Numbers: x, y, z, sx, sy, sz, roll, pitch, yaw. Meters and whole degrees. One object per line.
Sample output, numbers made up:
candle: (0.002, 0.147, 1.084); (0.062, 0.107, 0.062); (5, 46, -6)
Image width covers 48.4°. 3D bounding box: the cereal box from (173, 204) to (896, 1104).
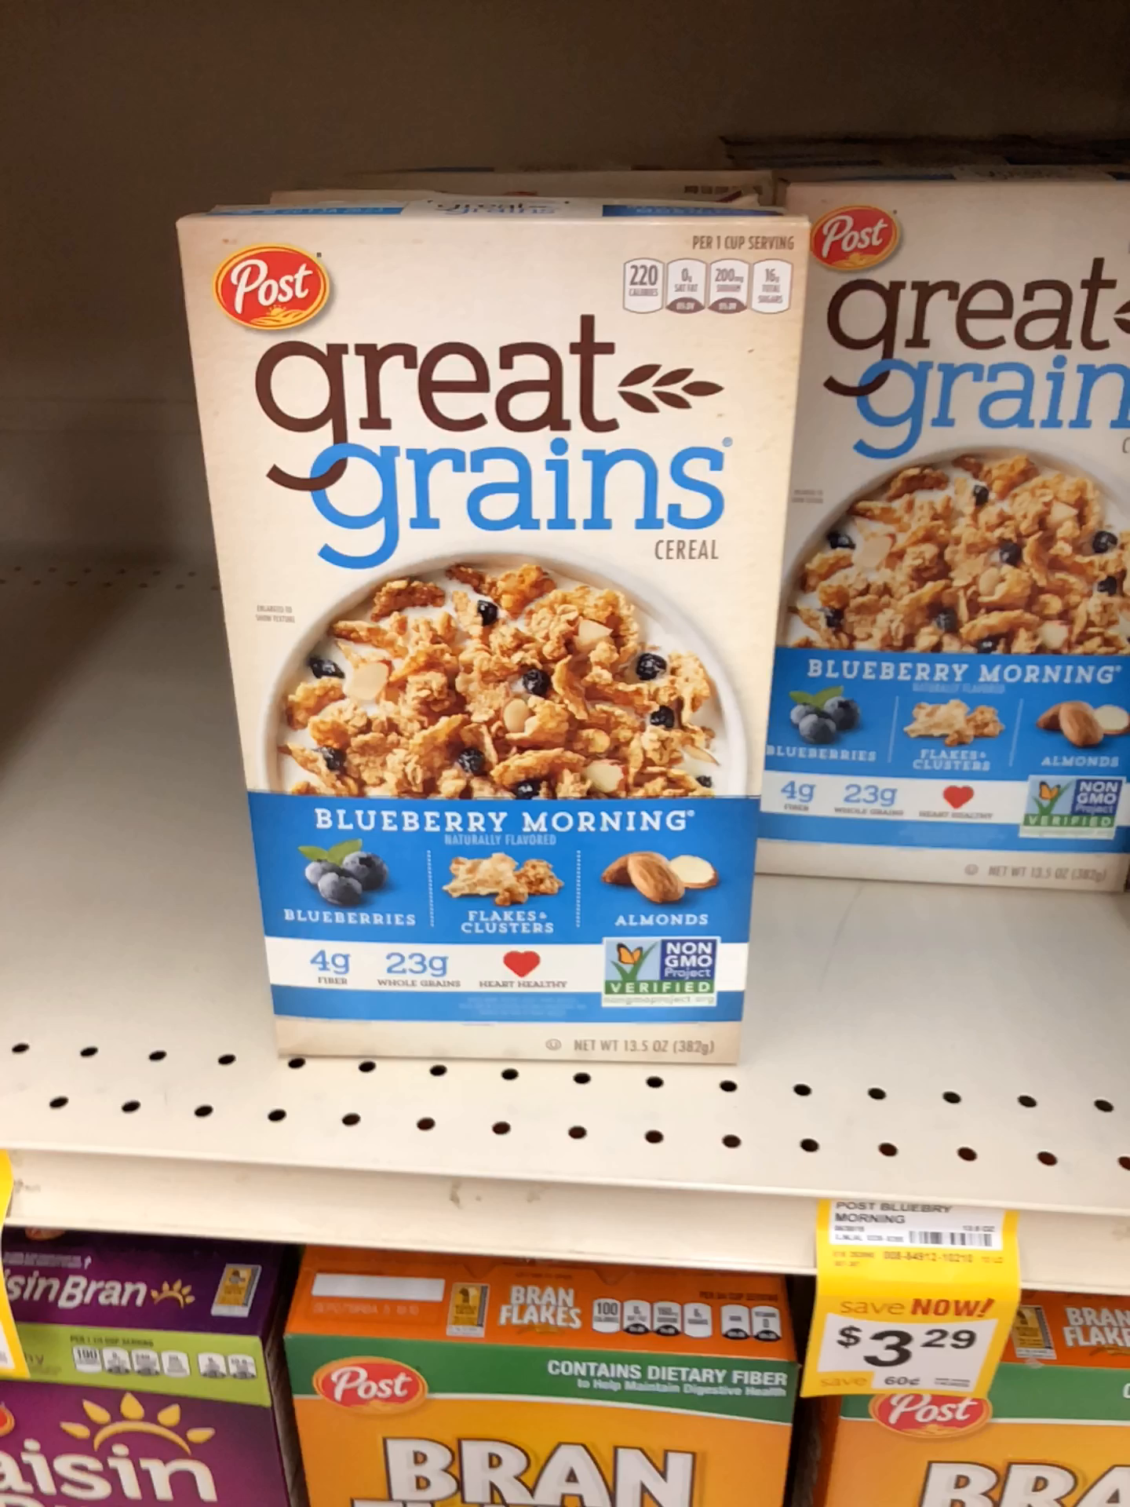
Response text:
cereal box: (-0.007, -0.021, 0.400); (0.180, 0.279, 0.060); (1, 26, 2)
